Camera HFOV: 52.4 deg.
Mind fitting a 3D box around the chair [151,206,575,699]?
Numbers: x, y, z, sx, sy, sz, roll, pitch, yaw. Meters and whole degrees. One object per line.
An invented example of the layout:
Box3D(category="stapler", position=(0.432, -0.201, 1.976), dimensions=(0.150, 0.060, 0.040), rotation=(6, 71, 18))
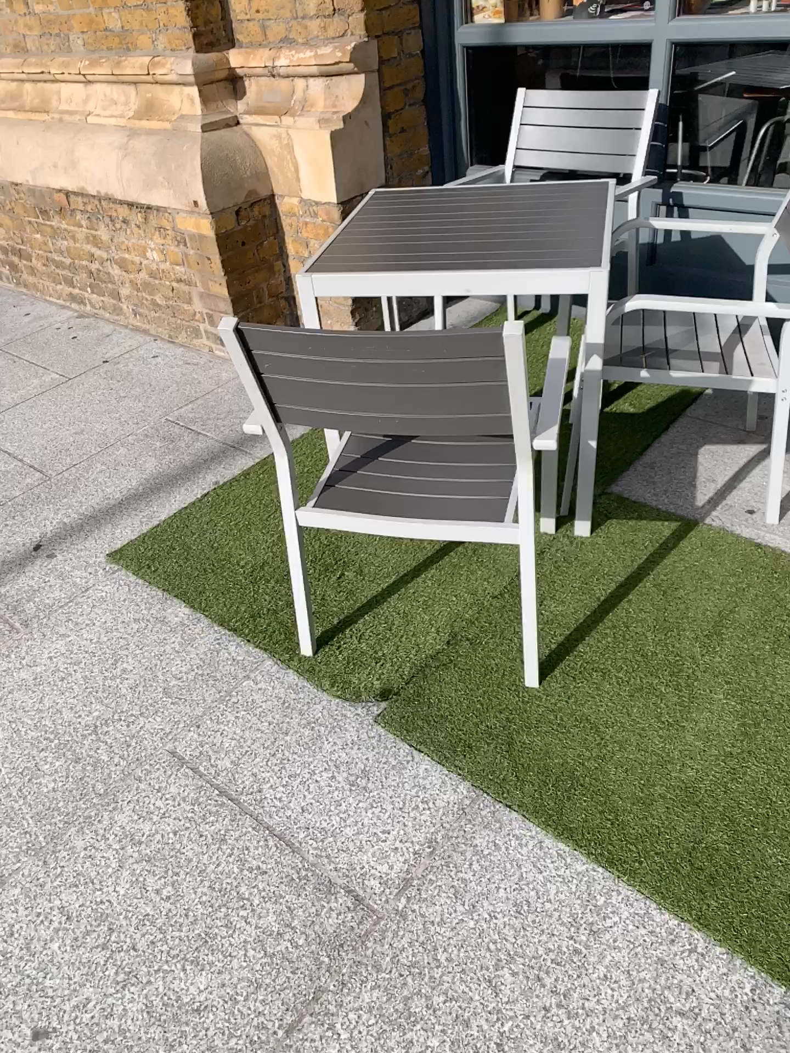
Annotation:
Box3D(category="chair", position=(0.027, -0.175, 1.754), dimensions=(0.681, 0.801, 0.652), rotation=(2, 37, 12))
